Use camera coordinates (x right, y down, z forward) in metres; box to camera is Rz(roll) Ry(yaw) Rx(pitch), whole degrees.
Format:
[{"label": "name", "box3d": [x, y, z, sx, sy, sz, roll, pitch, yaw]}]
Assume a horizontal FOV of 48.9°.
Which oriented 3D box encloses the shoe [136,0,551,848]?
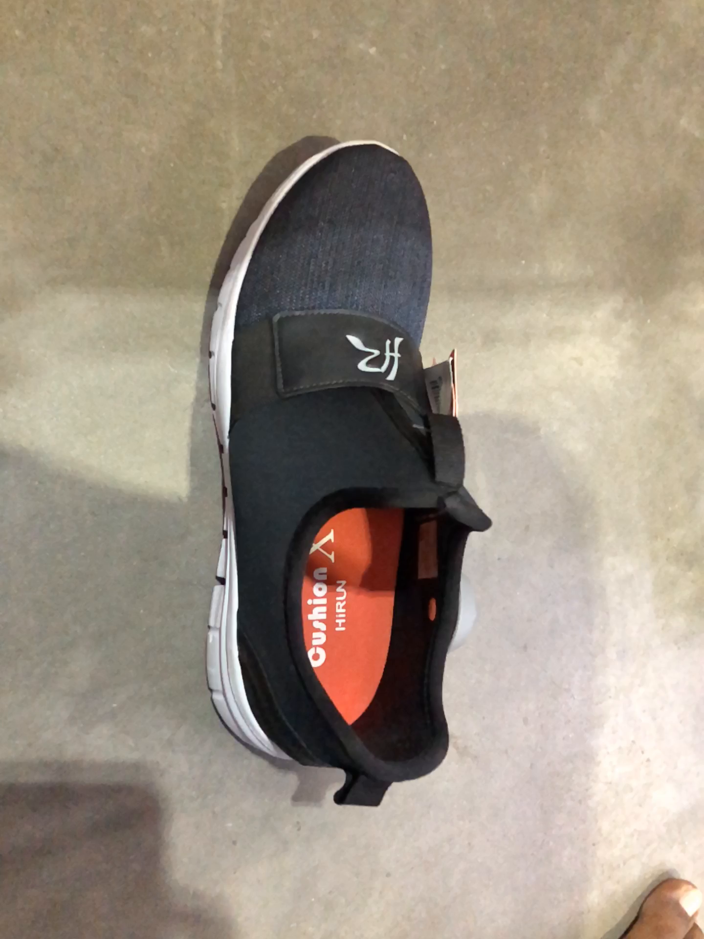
[{"label": "shoe", "box3d": [-0.011, -0.014, 0.322, 0.100, 0.130, 0.270, 7, 87, -26]}]
